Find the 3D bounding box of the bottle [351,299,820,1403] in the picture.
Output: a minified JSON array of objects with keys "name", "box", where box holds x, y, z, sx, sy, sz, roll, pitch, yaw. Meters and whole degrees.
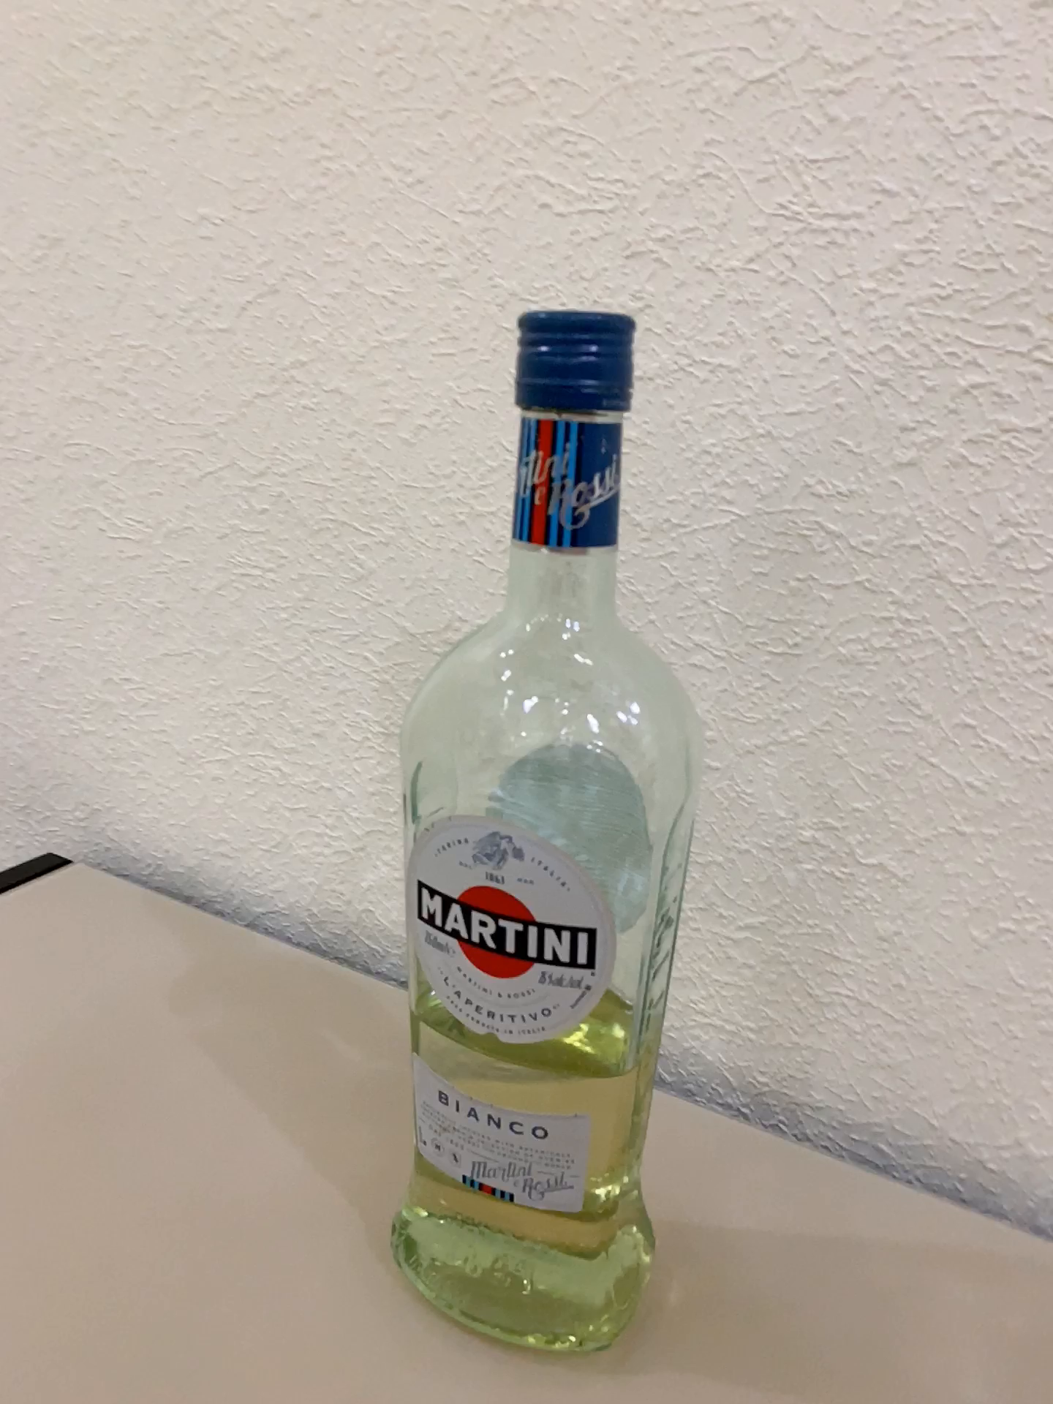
[{"name":"bottle","box":[0.011,0.045,0.331,0.100,0.309,0.080,11,19,23]}]
